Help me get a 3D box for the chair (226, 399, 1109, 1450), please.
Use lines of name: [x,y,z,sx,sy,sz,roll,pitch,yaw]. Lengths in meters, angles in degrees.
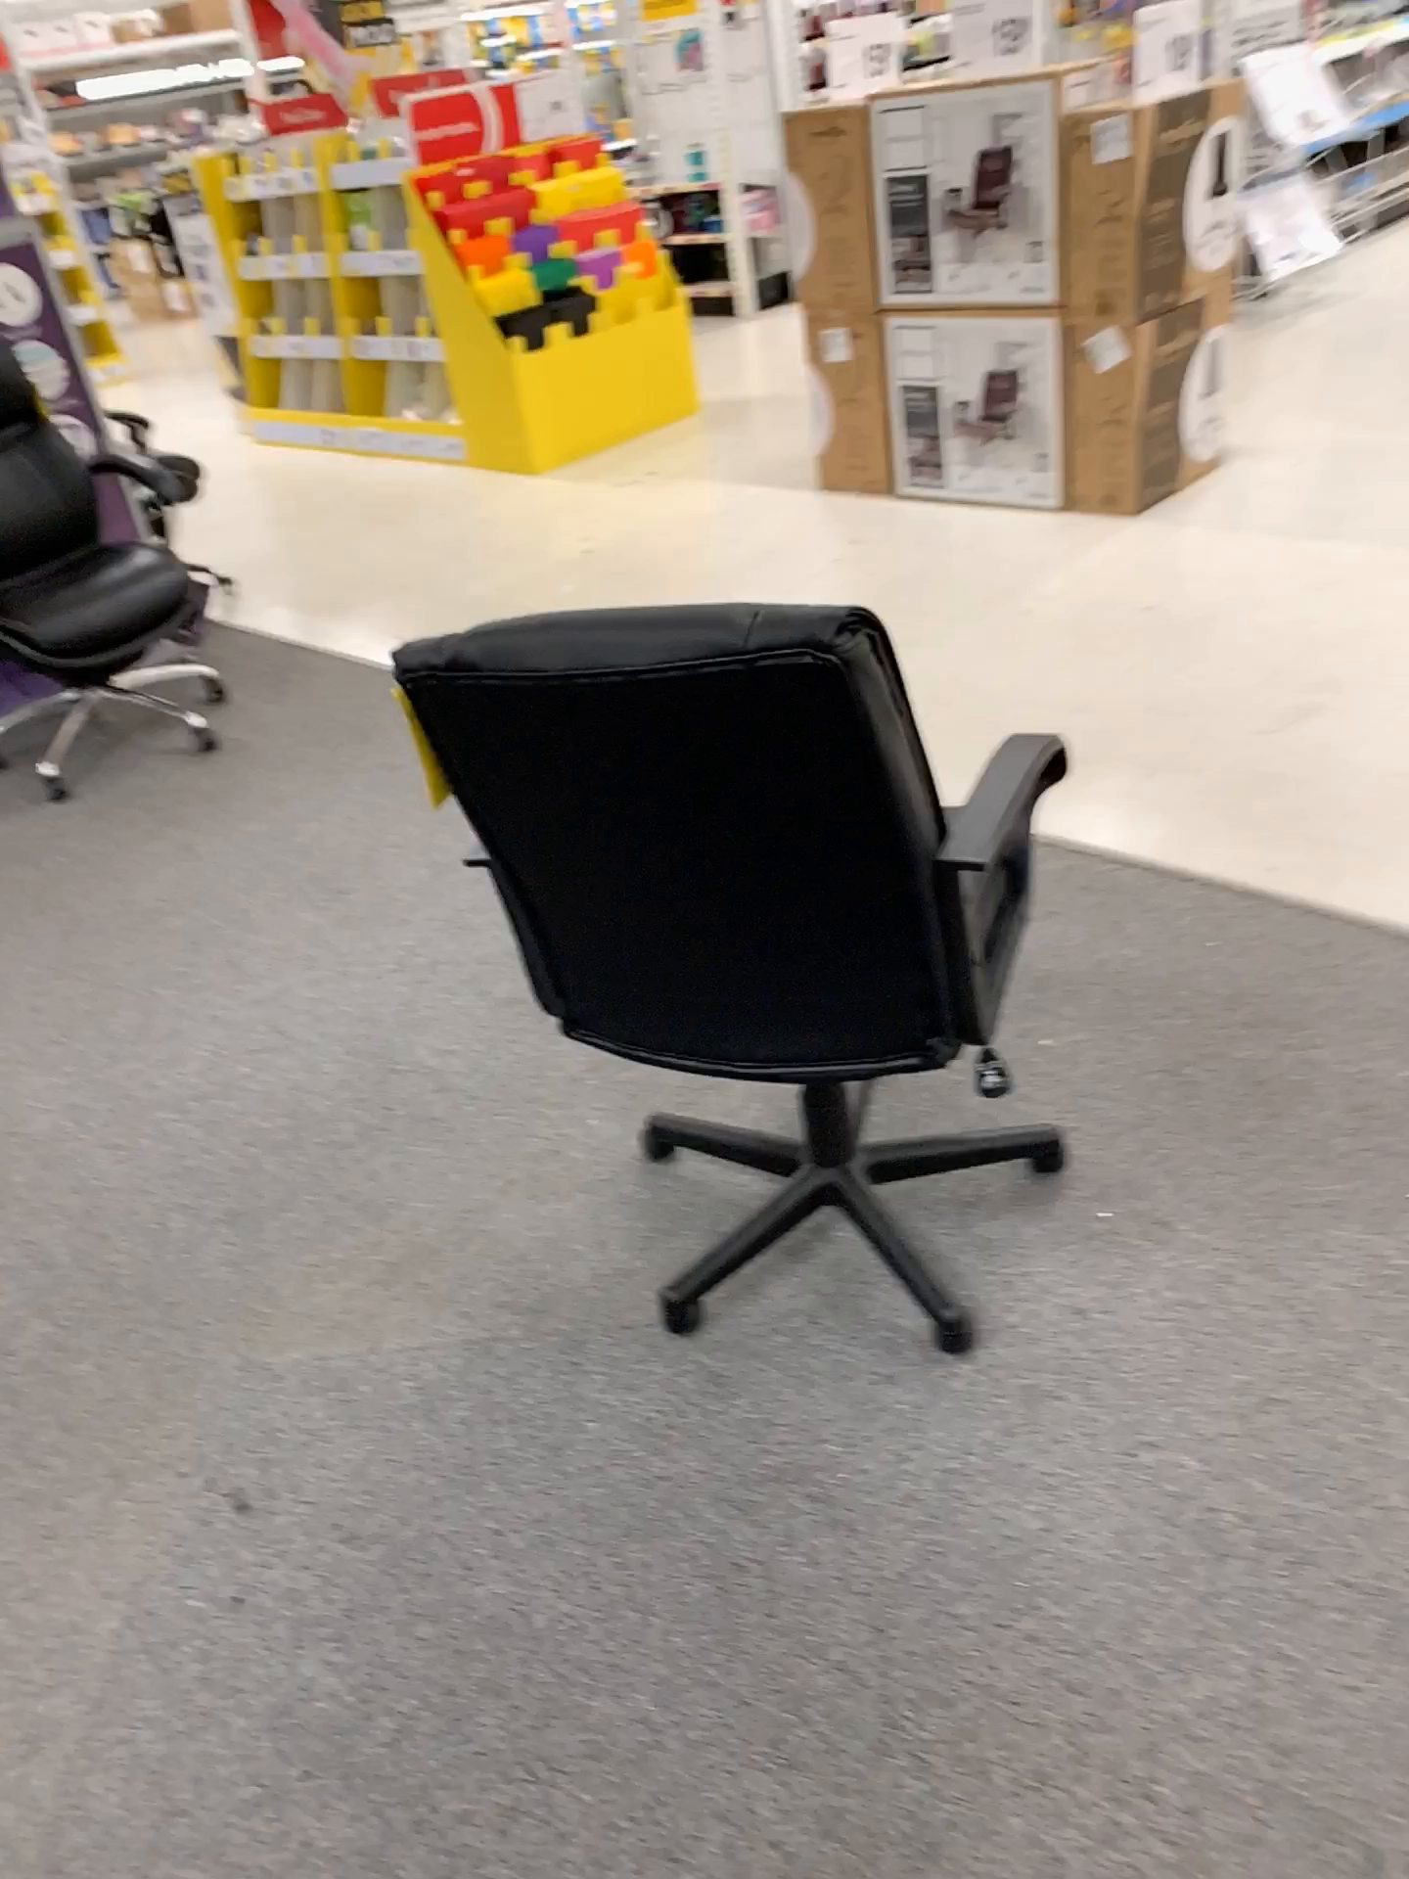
chair: [0.063,-0.041,1.784,0.681,0.965,0.703,2,33,25]
